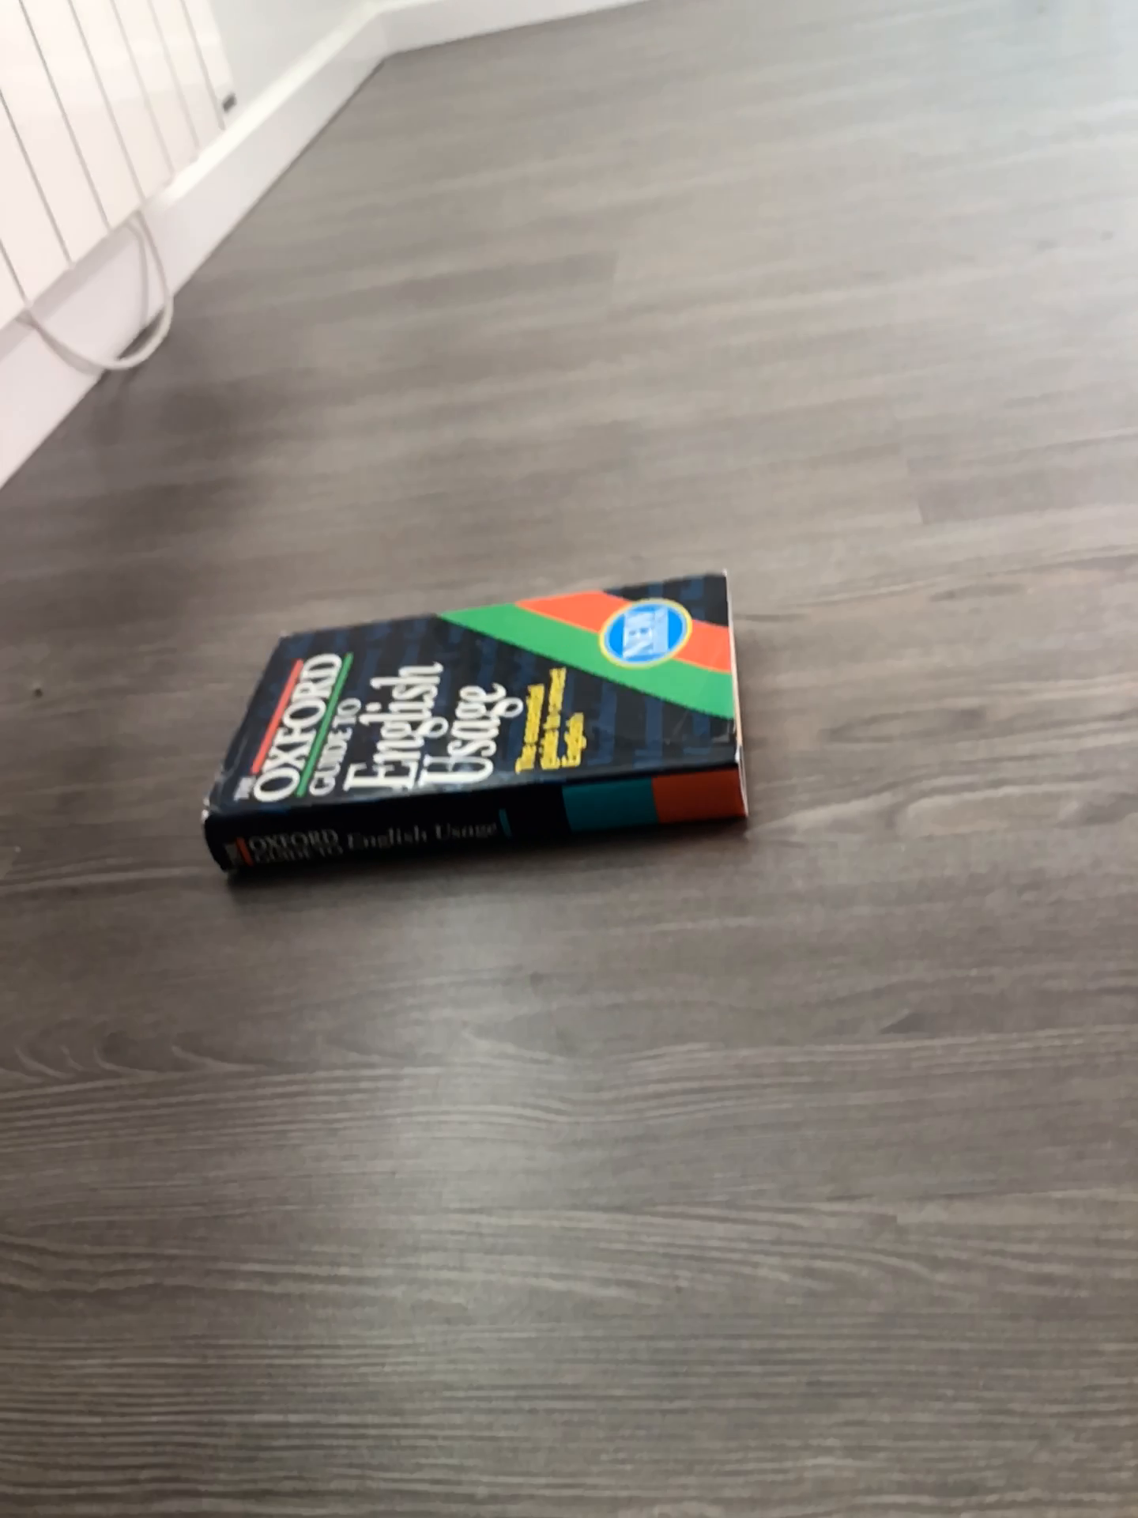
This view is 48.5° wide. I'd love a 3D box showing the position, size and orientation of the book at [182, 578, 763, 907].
[{"bbox_3d":[-0.035,-0.011,0.559,0.229,0.035,0.151,-7,37,10],"label":"book"}]
